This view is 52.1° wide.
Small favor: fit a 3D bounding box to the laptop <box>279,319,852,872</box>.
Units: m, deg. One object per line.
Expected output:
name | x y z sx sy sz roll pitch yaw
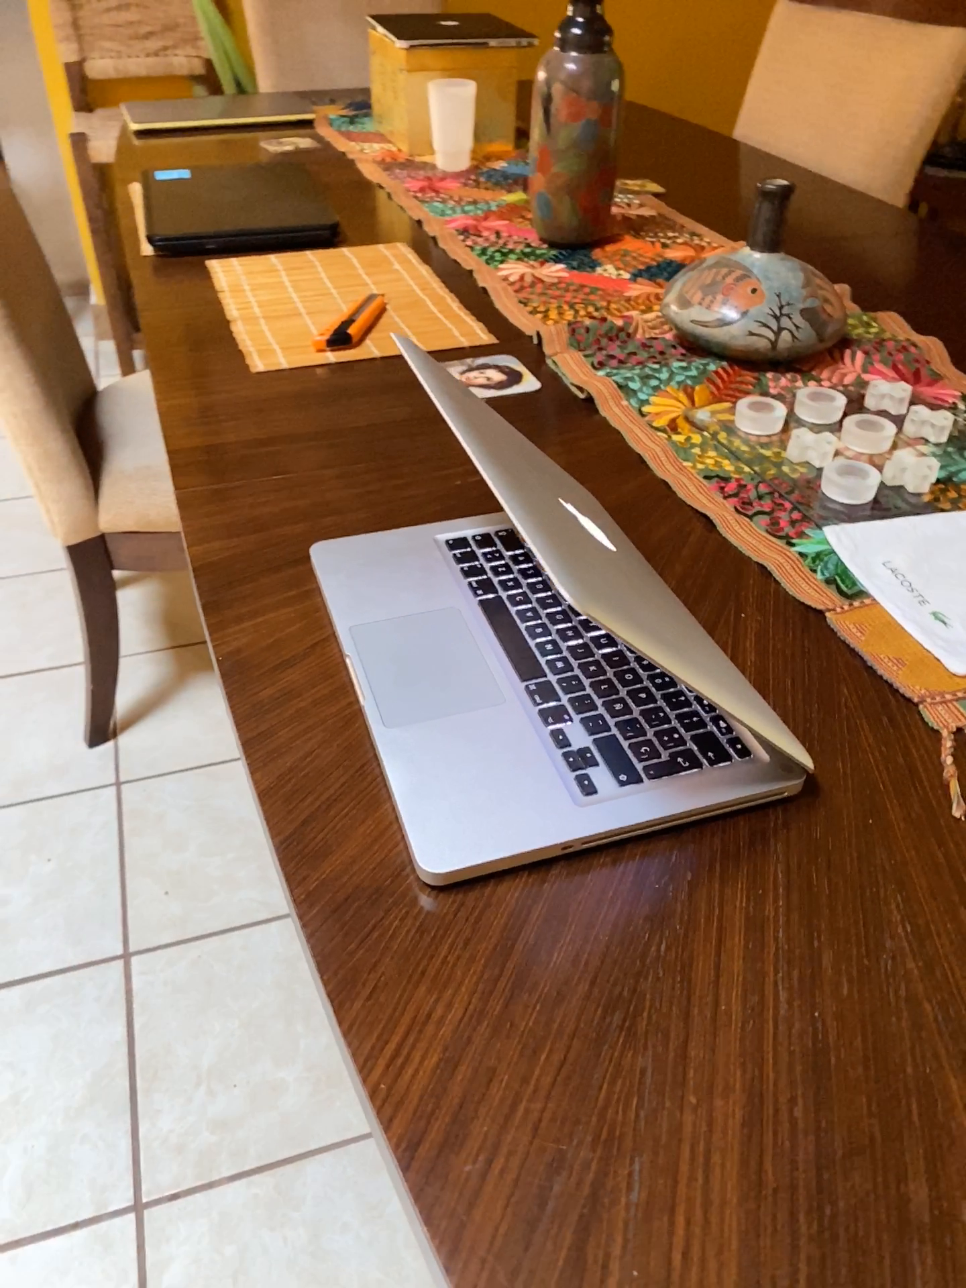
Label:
laptop | 0.019 -0.058 0.608 0.213 0.152 0.323 -12 40 -16
